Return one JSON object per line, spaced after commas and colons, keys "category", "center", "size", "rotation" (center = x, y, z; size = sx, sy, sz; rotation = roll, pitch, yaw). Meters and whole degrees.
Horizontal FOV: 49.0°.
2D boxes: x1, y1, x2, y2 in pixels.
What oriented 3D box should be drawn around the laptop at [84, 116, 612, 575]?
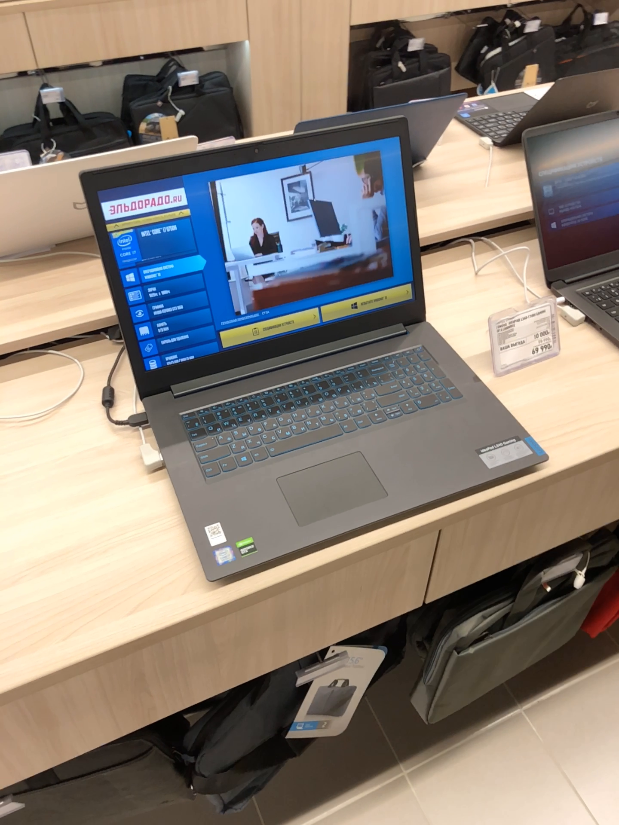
{"category": "laptop", "center": [0.012, -0.108, 0.755], "size": [0.395, 0.242, 0.382], "rotation": [-17, 47, -17]}
